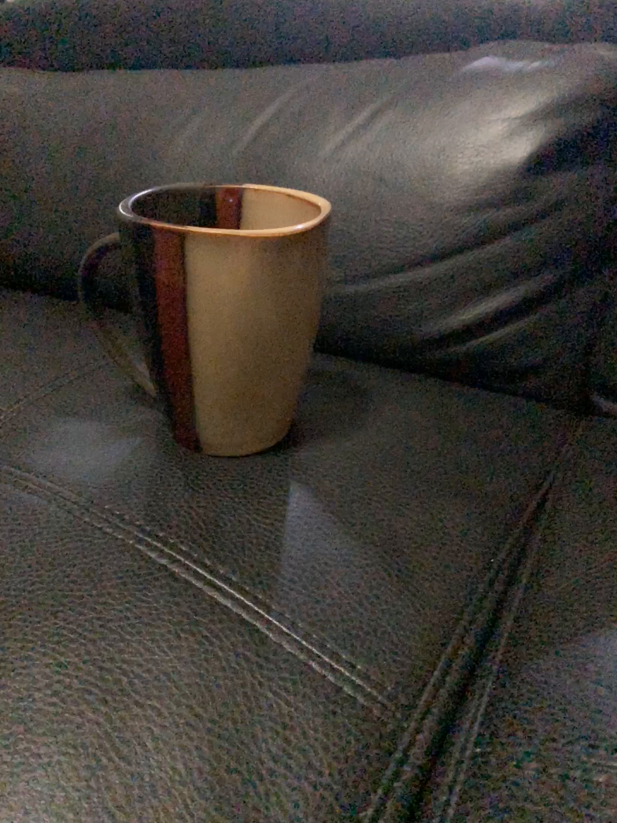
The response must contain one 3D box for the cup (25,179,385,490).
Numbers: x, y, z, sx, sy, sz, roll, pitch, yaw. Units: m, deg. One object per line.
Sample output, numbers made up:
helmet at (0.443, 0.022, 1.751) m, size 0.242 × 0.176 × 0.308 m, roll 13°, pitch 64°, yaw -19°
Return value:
cup at (-0.042, -0.046, 0.325) m, size 0.137 × 0.109 × 0.098 m, roll 10°, pitch 32°, yaw 14°
